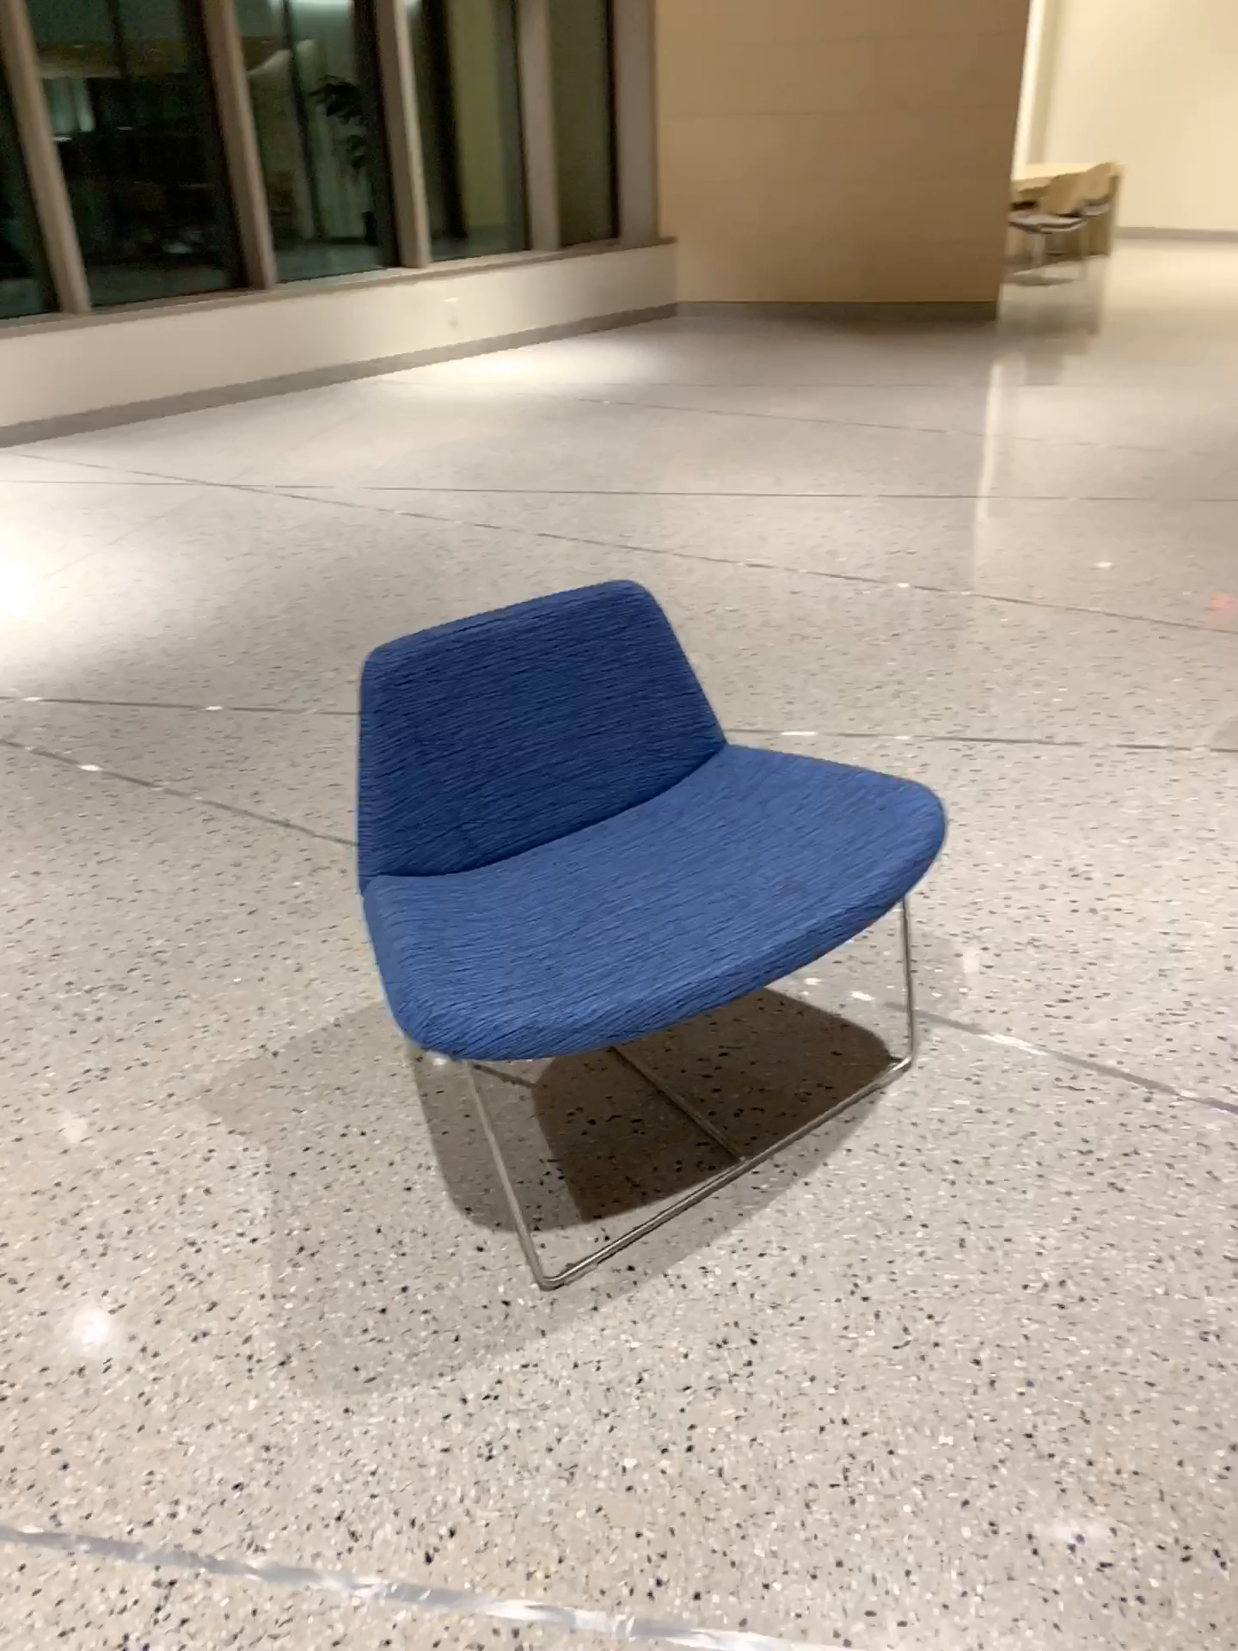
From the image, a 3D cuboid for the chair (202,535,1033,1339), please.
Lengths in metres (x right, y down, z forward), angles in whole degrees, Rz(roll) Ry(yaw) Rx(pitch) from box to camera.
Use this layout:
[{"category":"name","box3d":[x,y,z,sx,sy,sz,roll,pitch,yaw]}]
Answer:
[{"category":"chair","box3d":[0.013,0.070,1.919,0.944,0.698,0.664,-22,35,-31]}]
